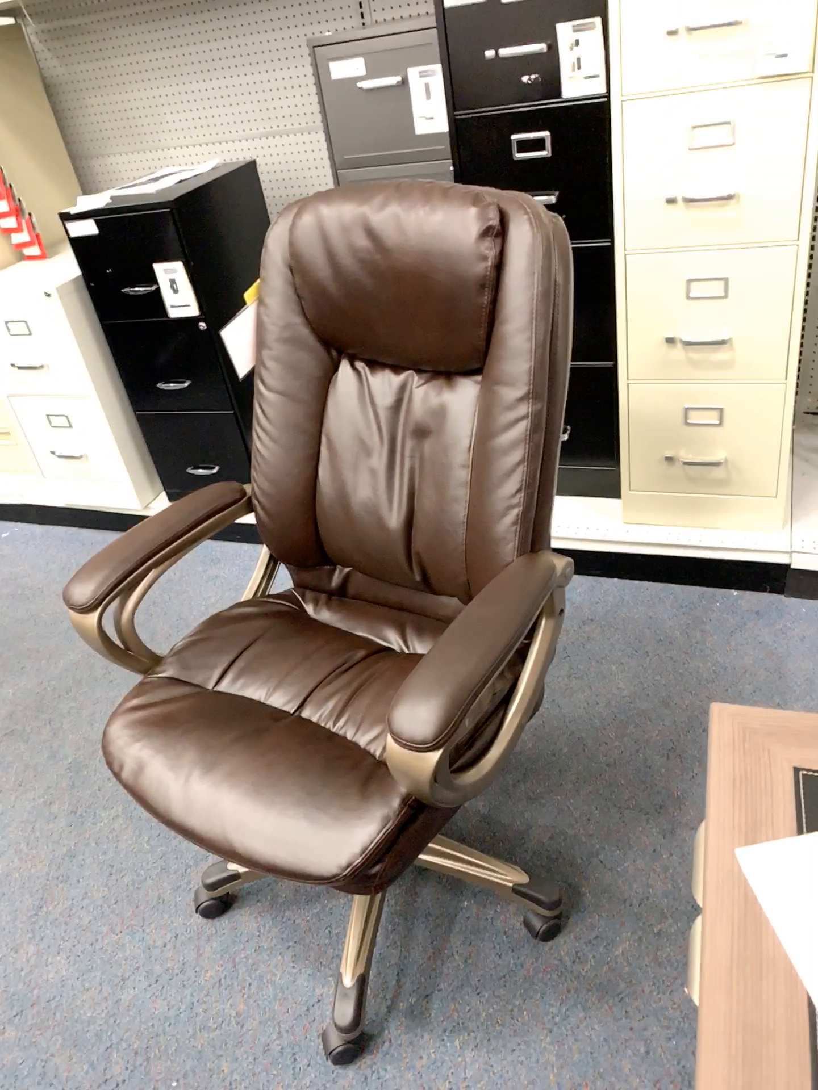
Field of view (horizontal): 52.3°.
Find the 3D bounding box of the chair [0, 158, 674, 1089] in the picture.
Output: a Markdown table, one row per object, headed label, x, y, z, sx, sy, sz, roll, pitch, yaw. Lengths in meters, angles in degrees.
| label | x | y | z | sx | sy | sz | roll | pitch | yaw |
| --- | --- | --- | --- | --- | --- | --- | --- | --- | --- |
| chair | -0.105 | 0.097 | 1.312 | 0.726 | 1.112 | 0.813 | 16 | 42 | 35 |
